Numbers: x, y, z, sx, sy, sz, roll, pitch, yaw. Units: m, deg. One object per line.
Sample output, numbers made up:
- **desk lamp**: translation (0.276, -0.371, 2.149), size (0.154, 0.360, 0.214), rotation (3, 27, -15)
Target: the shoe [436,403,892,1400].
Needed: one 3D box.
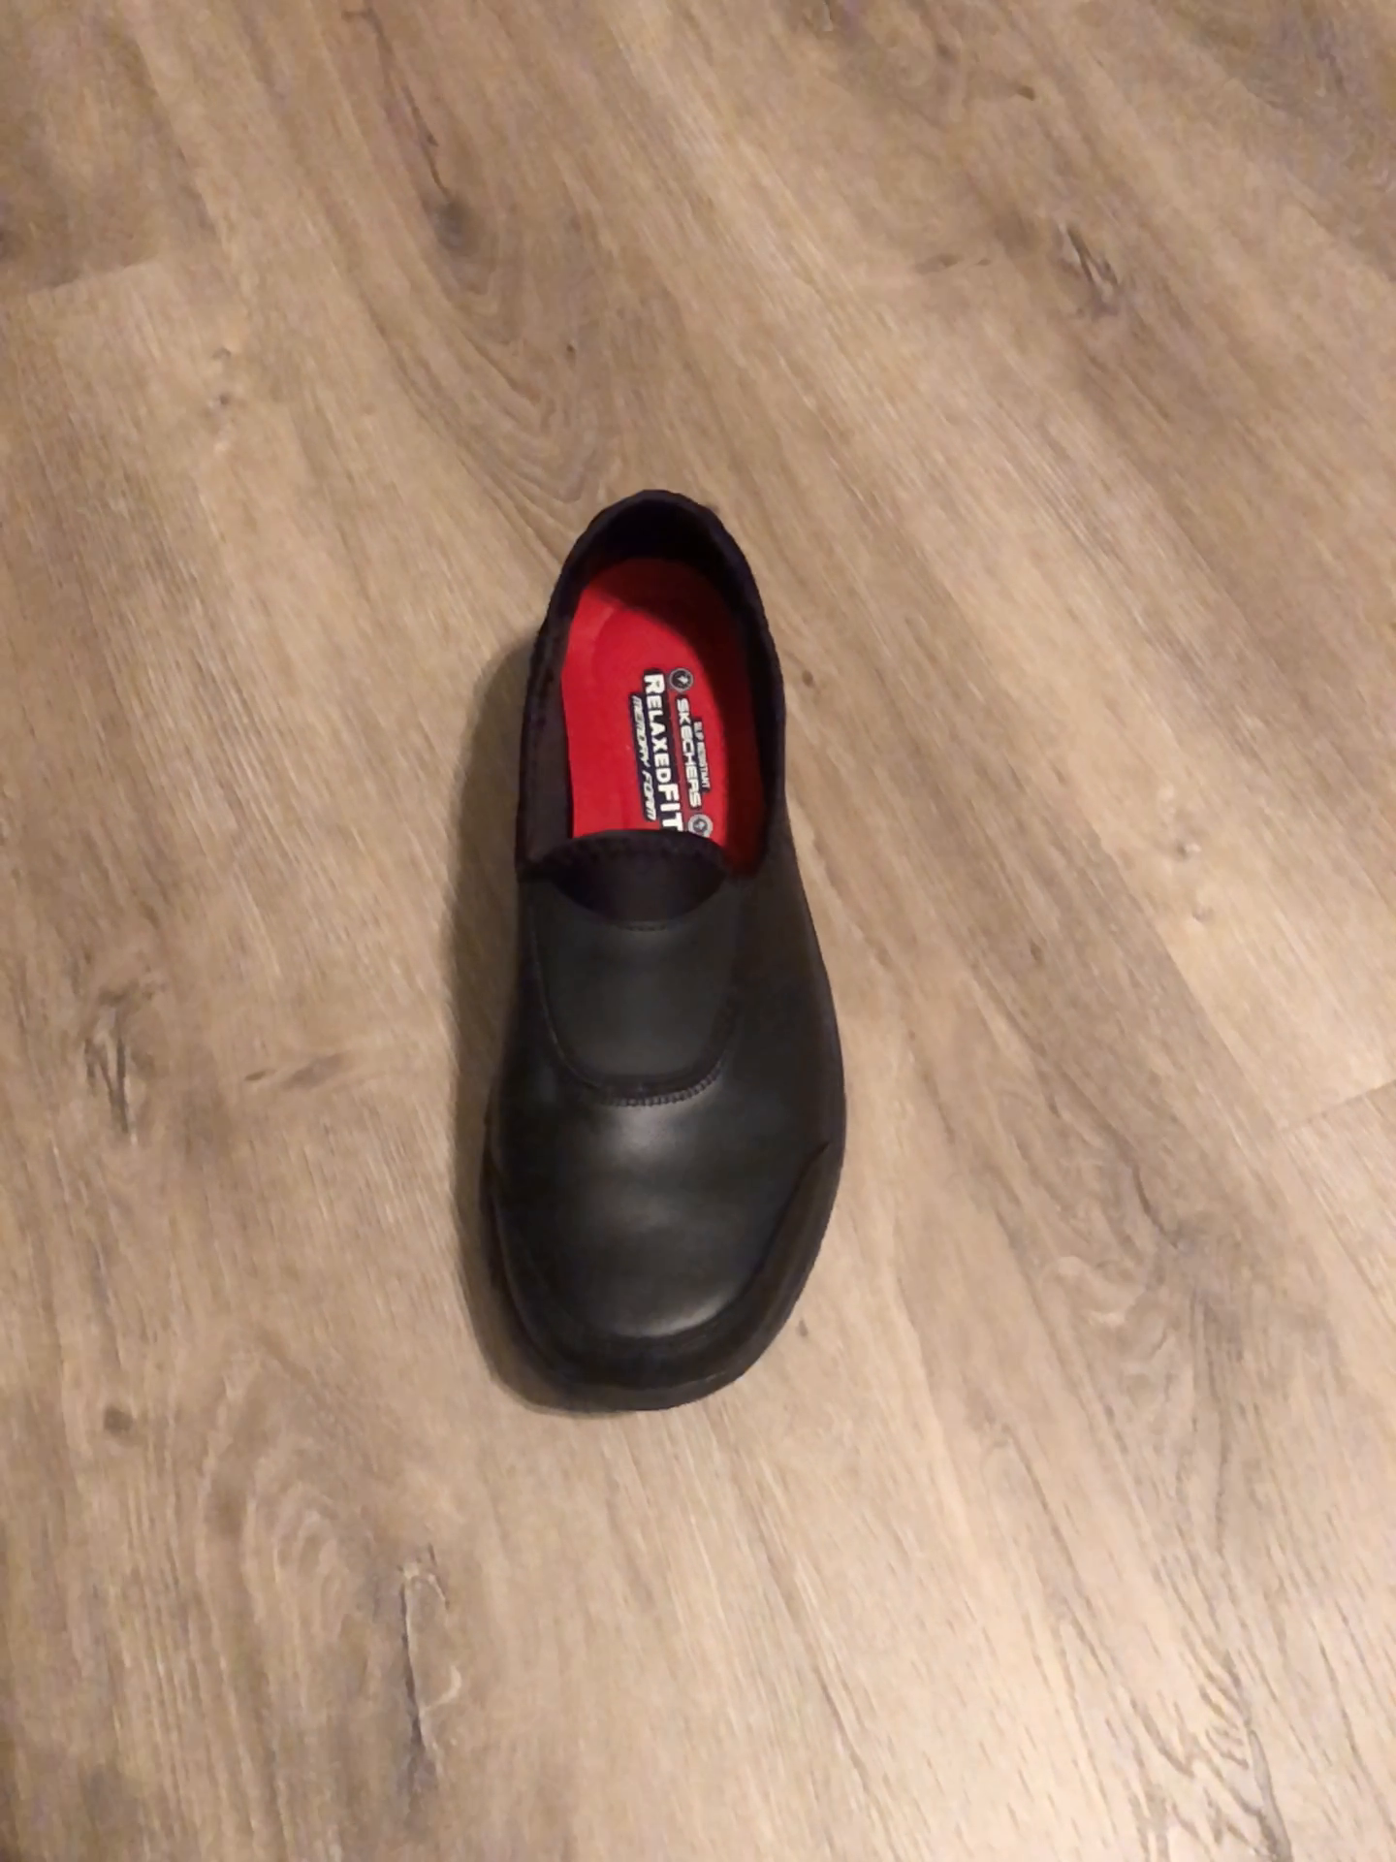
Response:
- **shoe**: translation (-0.011, -0.012, 0.398), size (0.090, 0.090, 0.240), rotation (-1, 64, -2)
